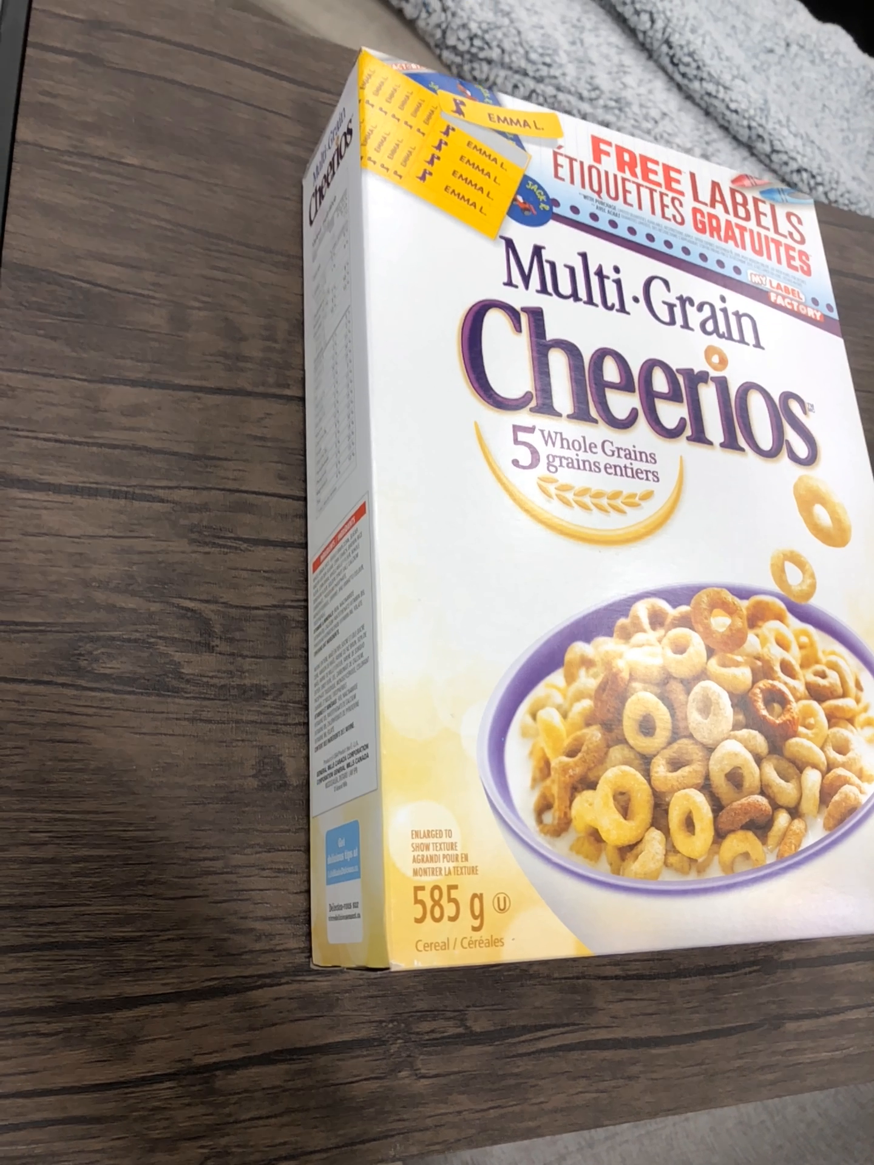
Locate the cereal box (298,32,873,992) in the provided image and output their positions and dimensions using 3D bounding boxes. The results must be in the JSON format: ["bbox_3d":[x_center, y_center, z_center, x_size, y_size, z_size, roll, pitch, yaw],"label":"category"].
[{"bbox_3d":[0.076,-0.028,0.390,0.251,0.070,0.340,6,67,-24],"label":"cereal box"}]
